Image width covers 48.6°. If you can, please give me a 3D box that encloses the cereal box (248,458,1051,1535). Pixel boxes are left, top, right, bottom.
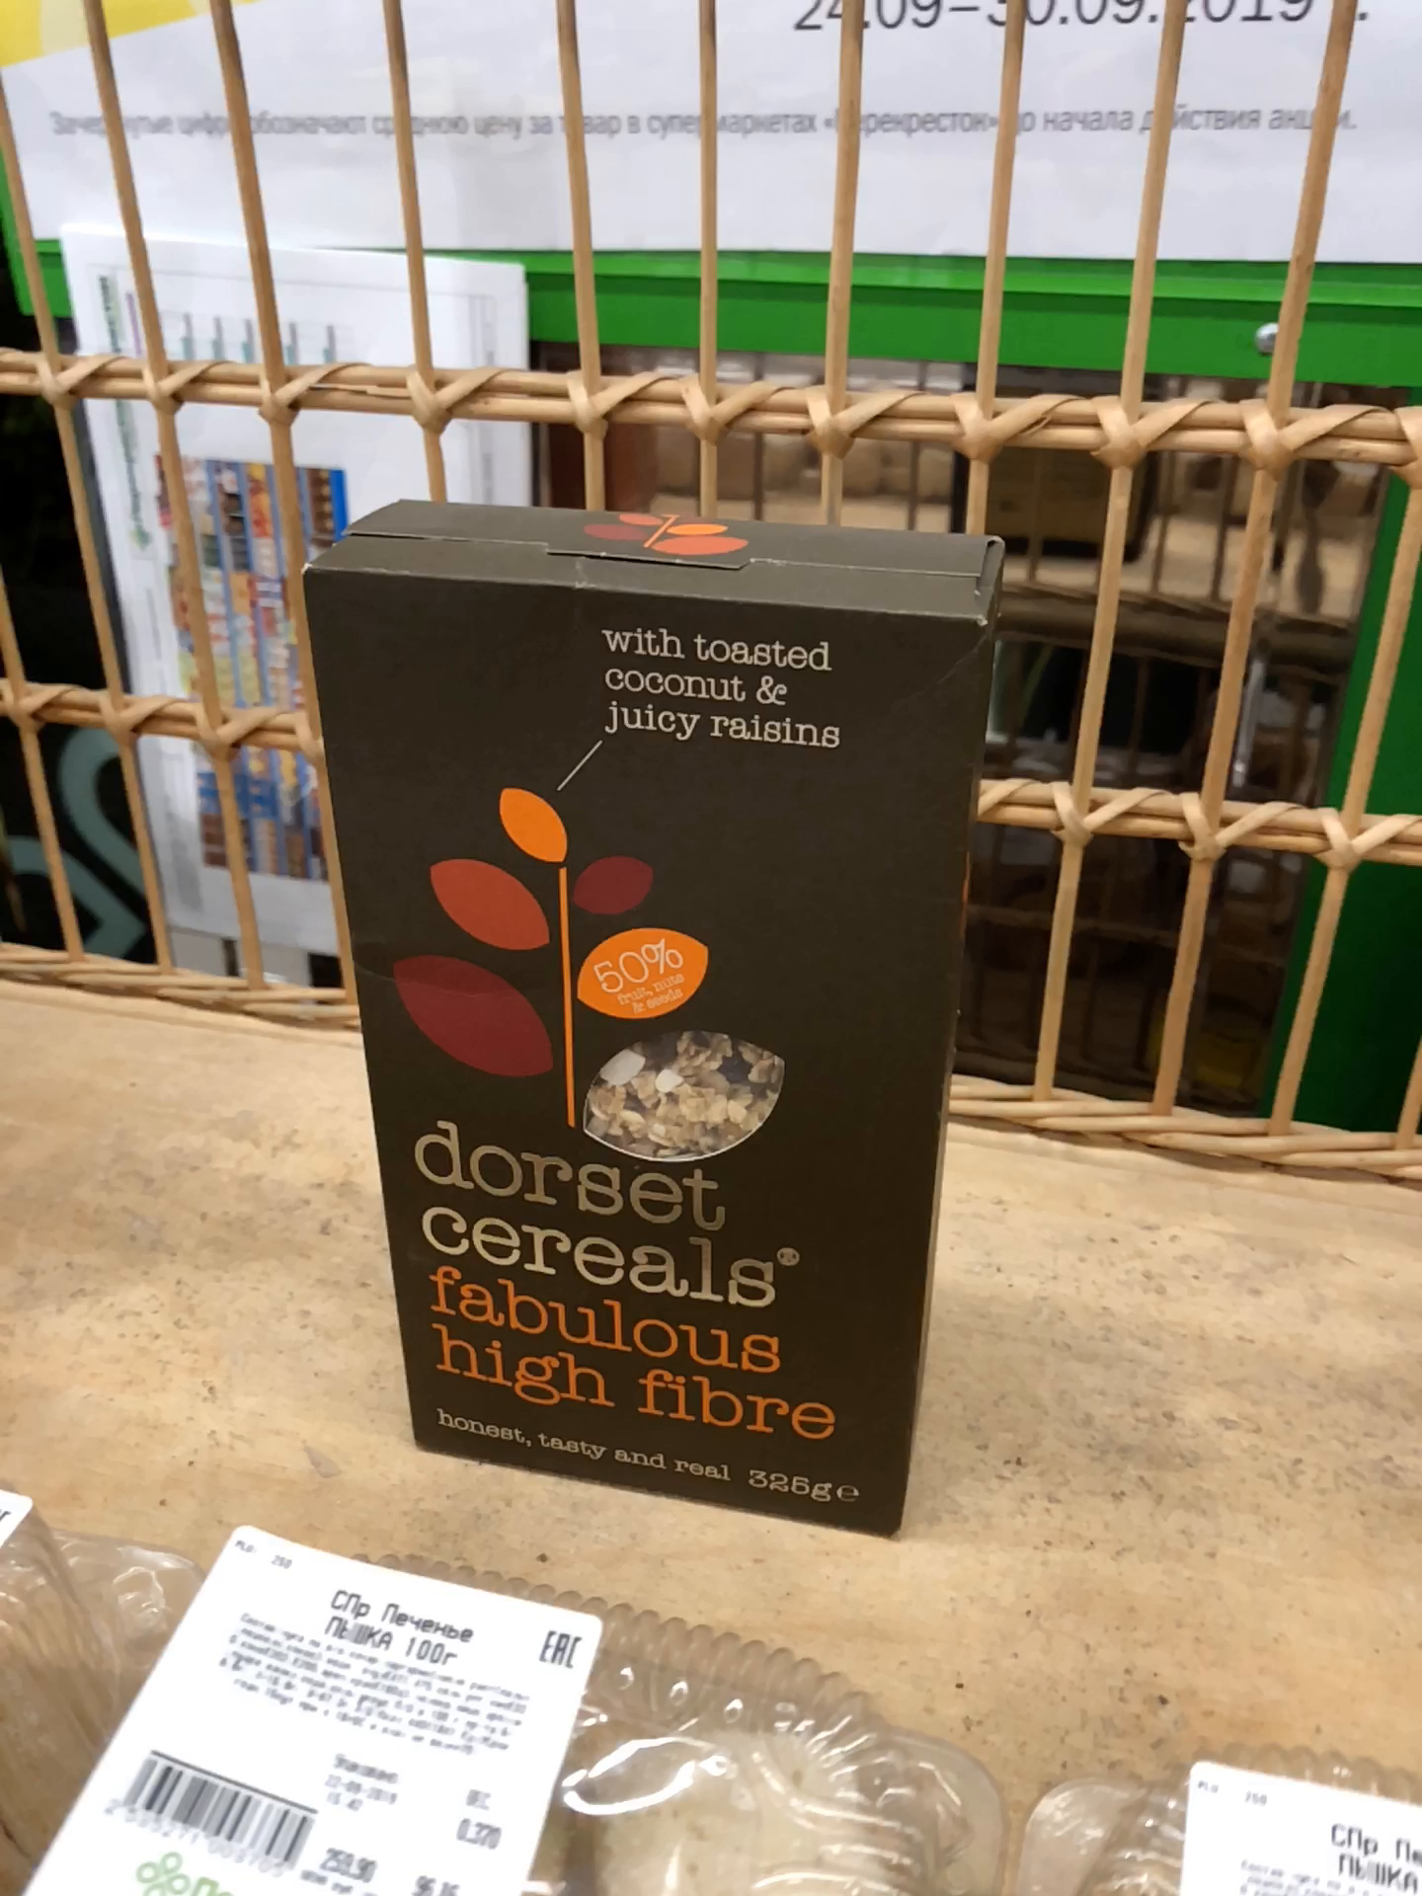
[{"bbox_3d":[-0.009,0.016,0.323,0.130,0.209,0.050,7,30,11],"label":"cereal box"}]
